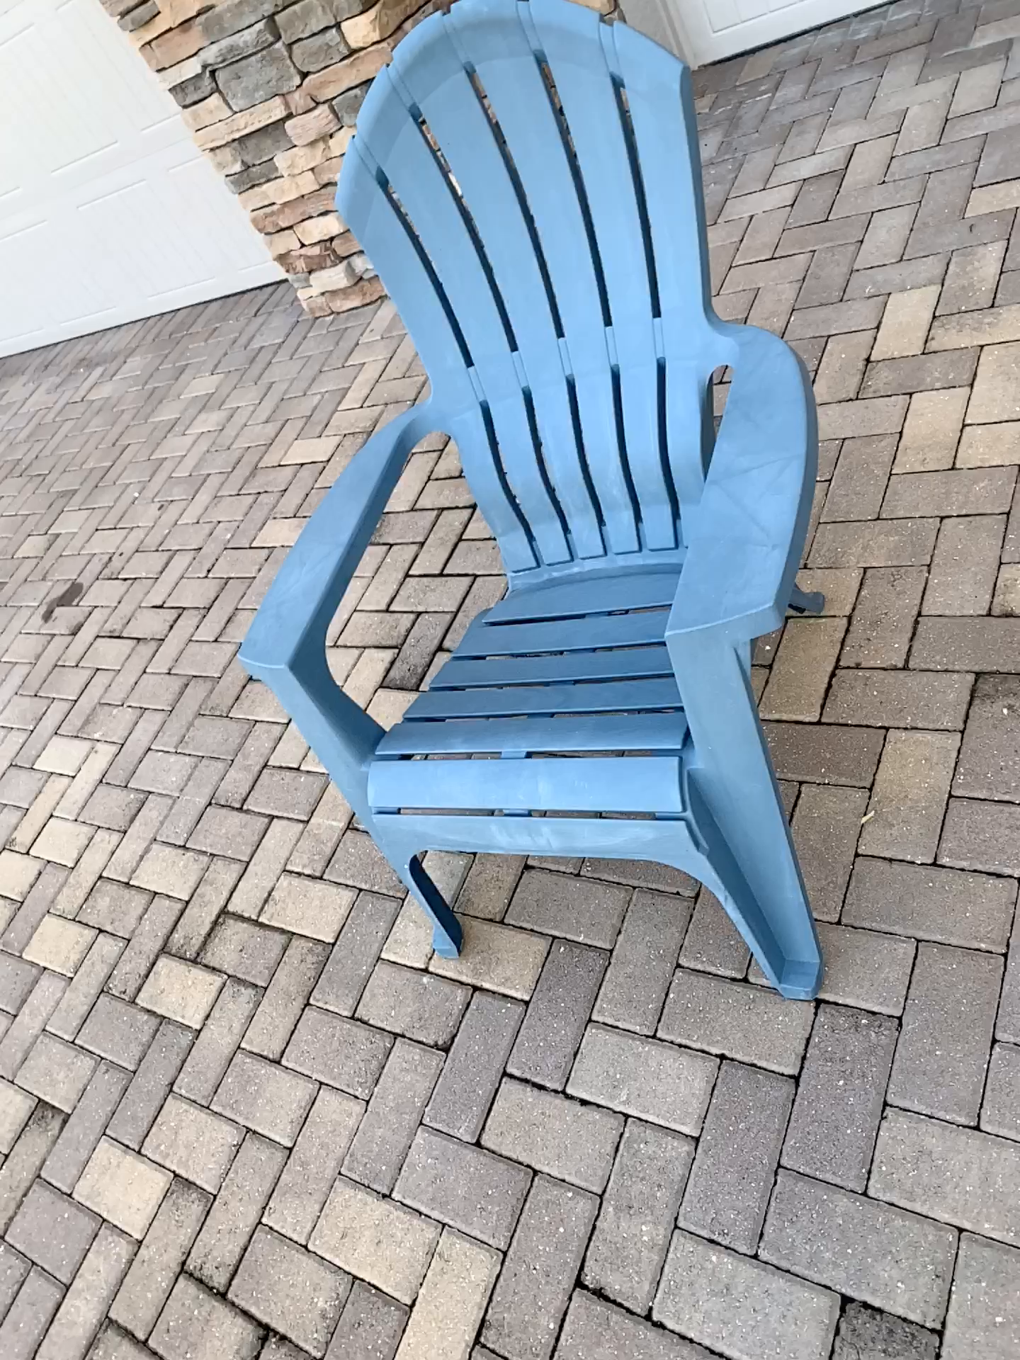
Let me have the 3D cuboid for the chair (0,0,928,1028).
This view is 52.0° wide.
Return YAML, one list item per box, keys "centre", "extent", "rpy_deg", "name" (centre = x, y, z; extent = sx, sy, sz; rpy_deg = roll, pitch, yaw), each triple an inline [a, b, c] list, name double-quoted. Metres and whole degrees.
- centre: [0.028, -0.206, 1.315]
  extent: [0.684, 0.985, 0.798]
  rpy_deg: [-4, 48, 33]
  name: "chair"
